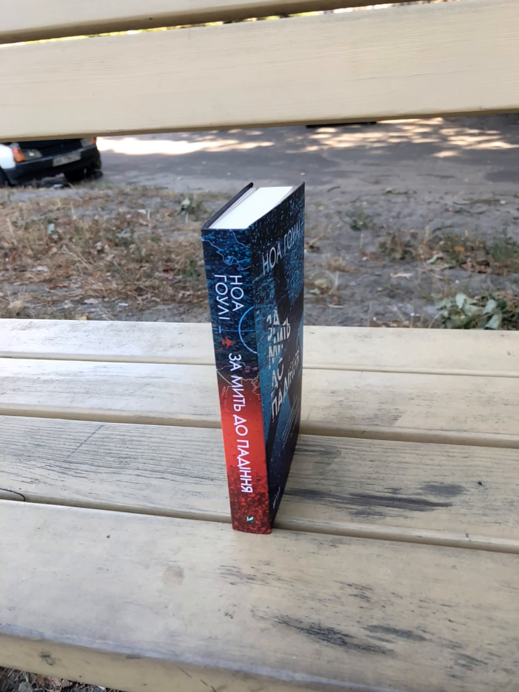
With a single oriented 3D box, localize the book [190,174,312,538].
[{"bbox_3d":[0.005,0.000,0.383,0.040,0.199,0.141,3,27,13],"label":"book"}]
